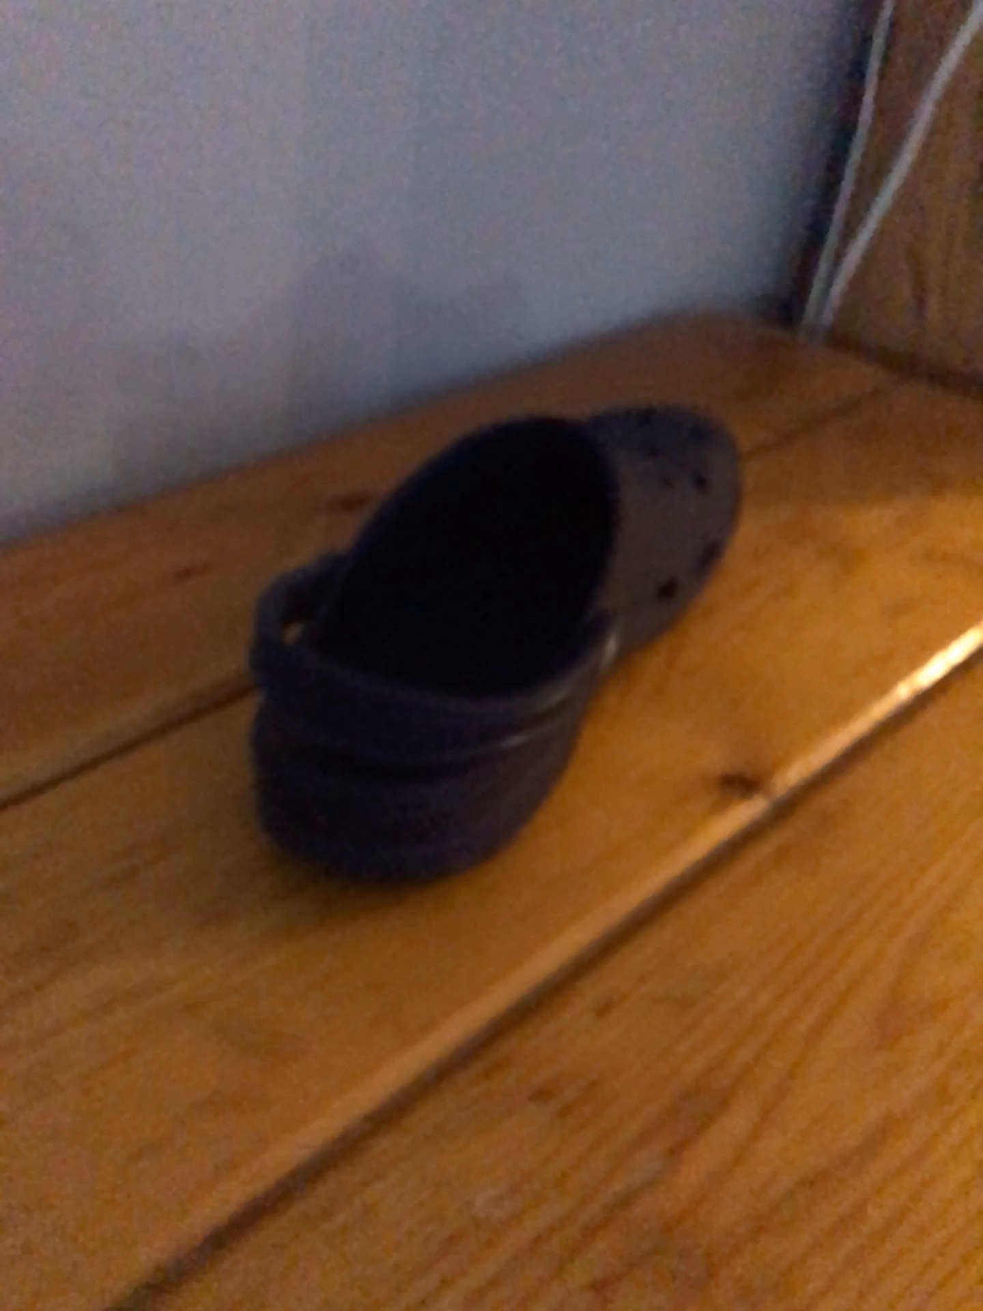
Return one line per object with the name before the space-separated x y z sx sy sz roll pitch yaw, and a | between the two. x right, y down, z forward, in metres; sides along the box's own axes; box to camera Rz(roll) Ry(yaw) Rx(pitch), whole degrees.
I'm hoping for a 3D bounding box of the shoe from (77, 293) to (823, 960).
shoe | 0.009 -0.041 0.419 0.130 0.080 0.291 22 41 22
